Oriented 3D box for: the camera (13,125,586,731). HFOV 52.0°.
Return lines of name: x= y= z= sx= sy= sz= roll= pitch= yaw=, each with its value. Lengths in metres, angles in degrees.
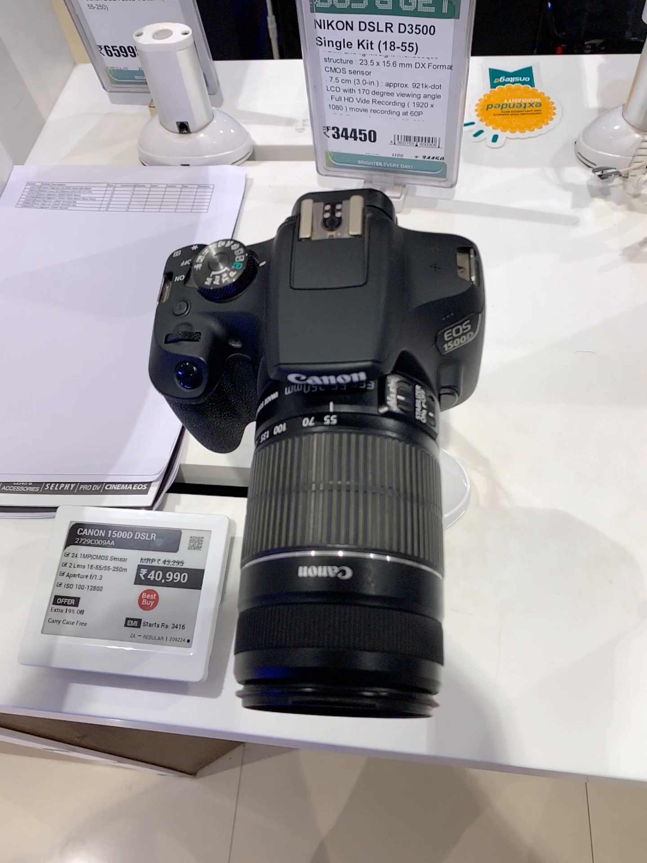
camera: x=0.000 y=-0.006 z=0.236 sx=0.130 sy=0.090 sz=0.190 roll=0 pitch=59 yaw=6
